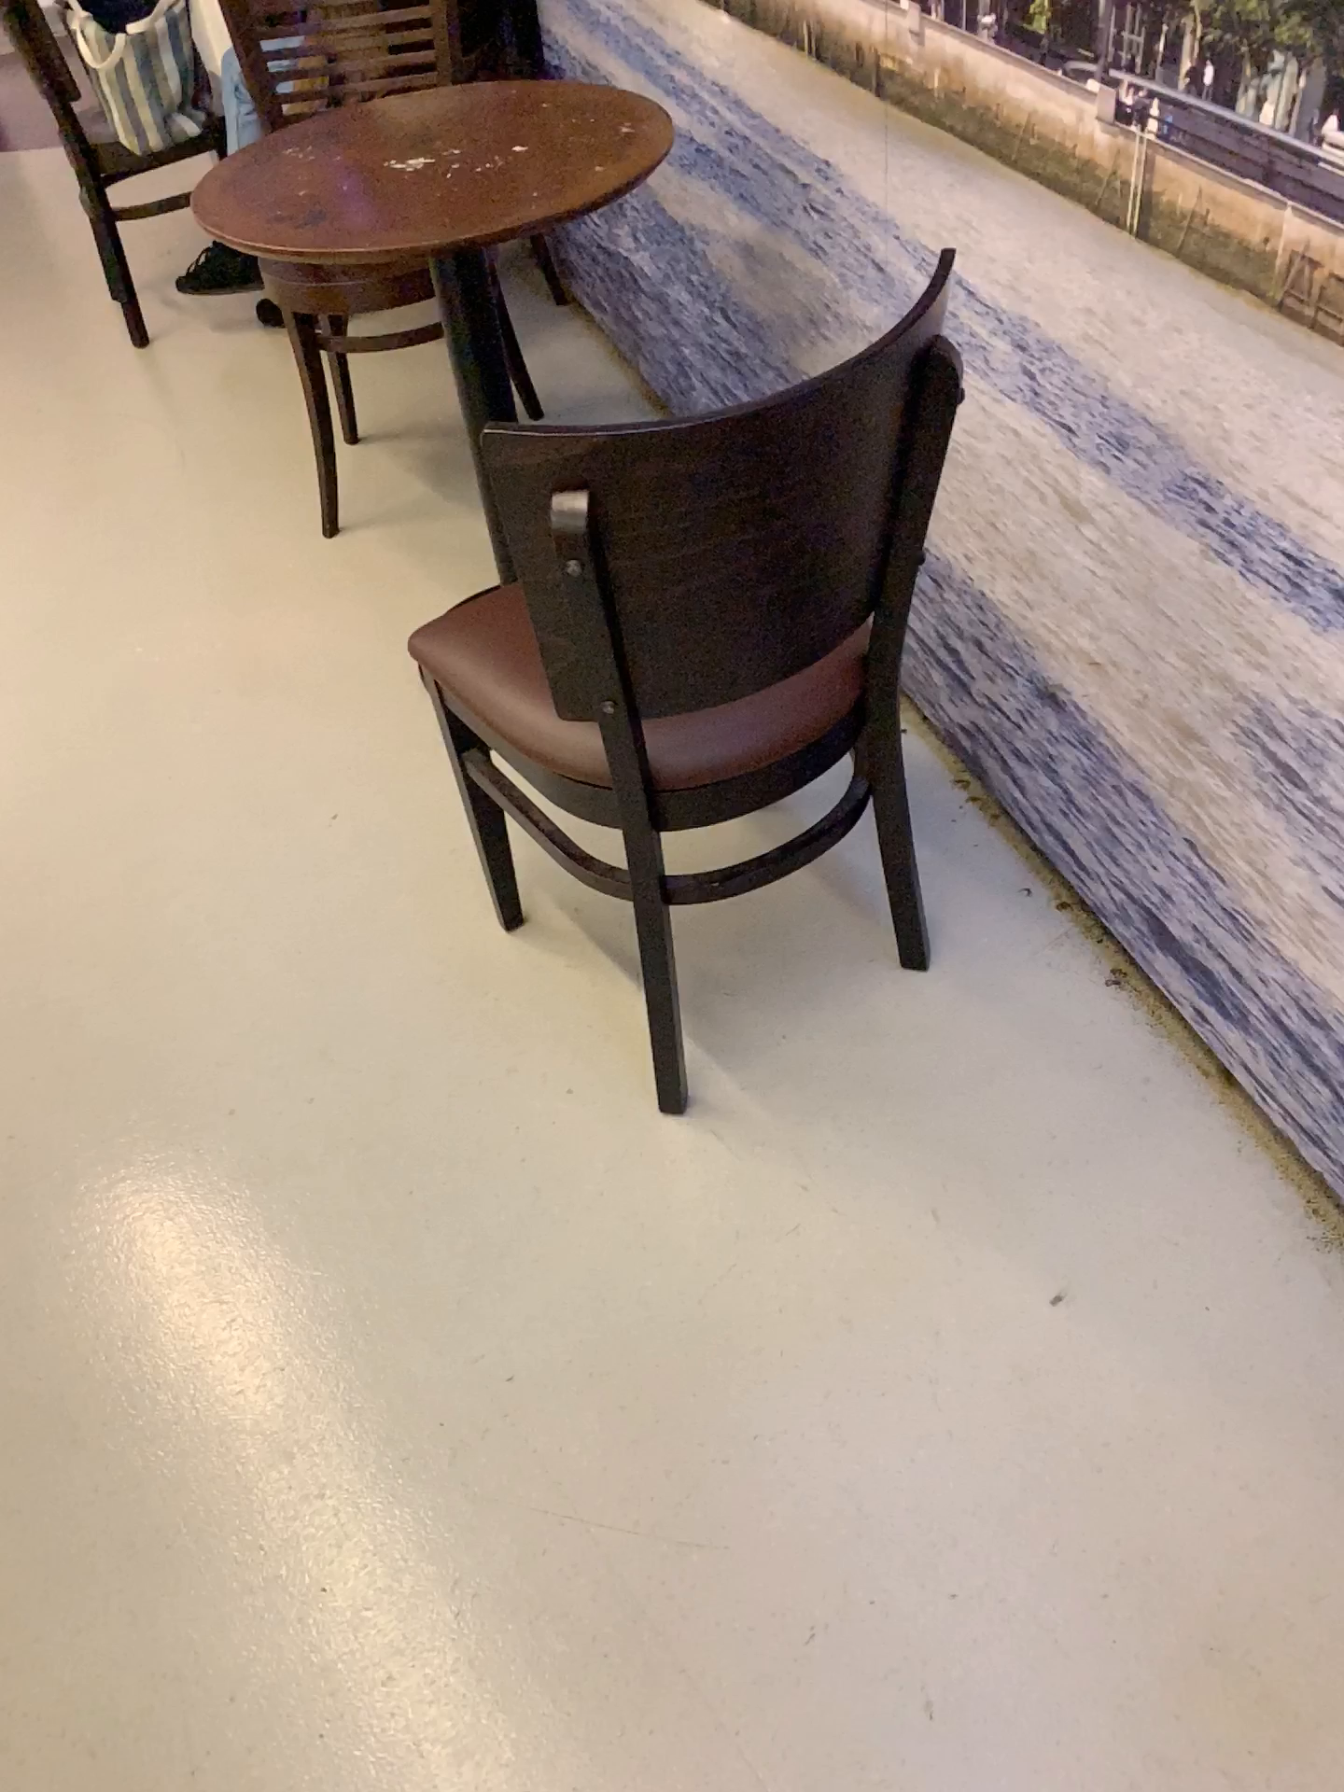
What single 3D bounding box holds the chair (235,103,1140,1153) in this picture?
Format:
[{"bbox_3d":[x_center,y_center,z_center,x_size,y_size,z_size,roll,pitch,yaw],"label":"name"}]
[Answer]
[{"bbox_3d":[0.023,-0.268,1.359,0.559,0.729,0.520,-25,46,-16],"label":"chair"}]
